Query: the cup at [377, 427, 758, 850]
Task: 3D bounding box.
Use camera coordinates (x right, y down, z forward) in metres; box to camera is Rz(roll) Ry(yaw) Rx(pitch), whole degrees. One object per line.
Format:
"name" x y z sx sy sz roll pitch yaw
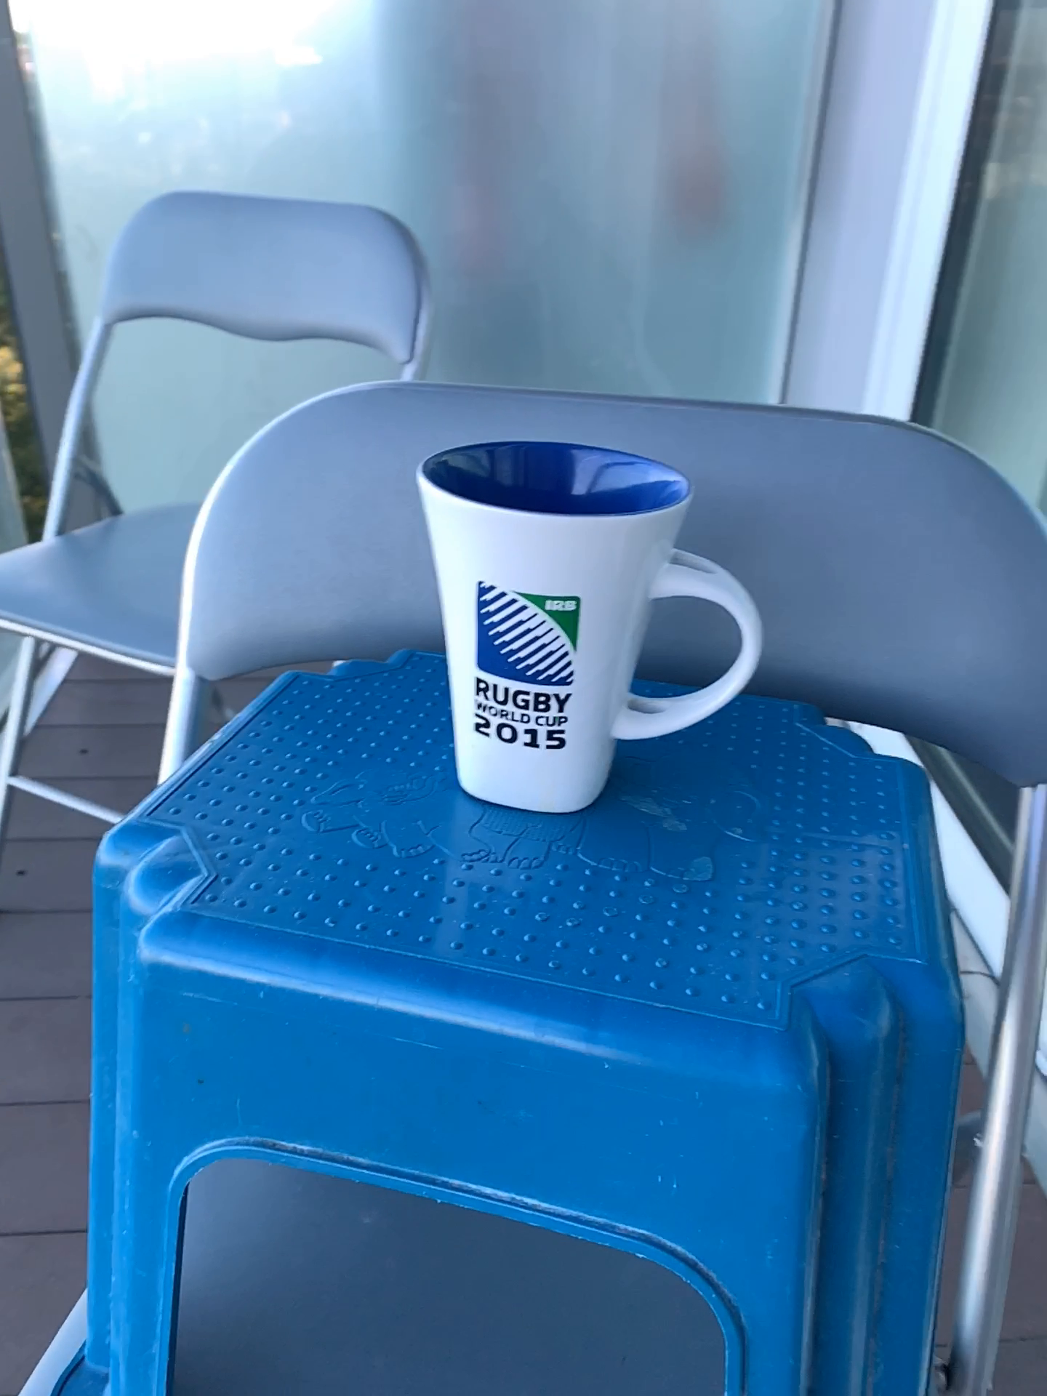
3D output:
"cup" 0.017 -0.024 0.367 0.107 0.105 0.083 8 29 11
